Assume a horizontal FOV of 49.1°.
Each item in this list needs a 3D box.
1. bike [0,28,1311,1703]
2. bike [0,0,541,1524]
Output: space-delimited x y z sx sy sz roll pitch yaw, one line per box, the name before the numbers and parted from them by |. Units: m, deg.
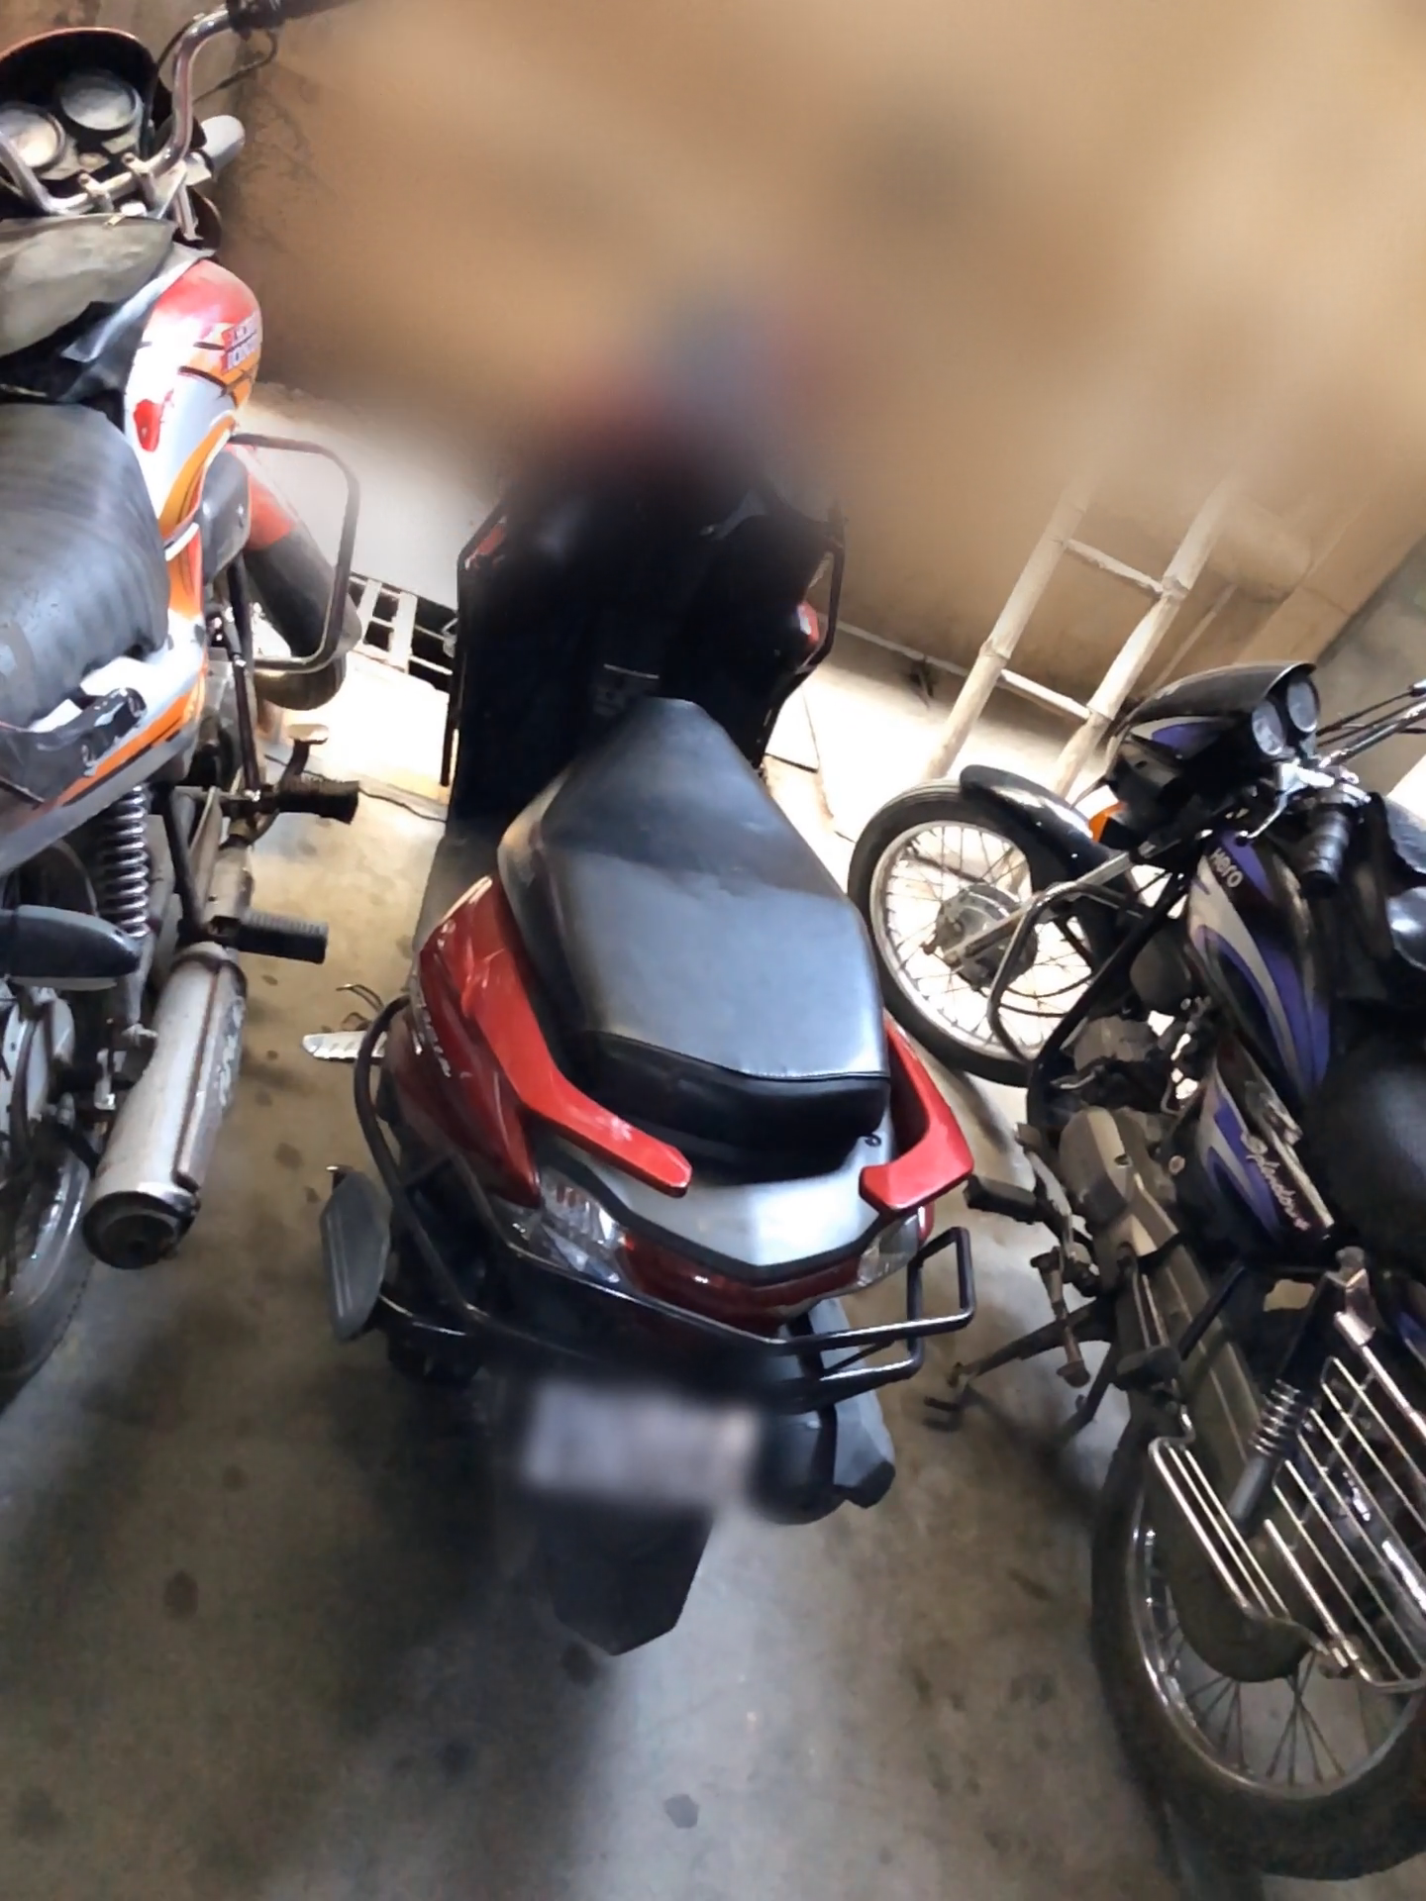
bike | -0.218 -0.155 1.816 0.630 1.140 1.445 18 36 -24
bike | -0.858 -0.508 1.631 0.839 1.089 1.657 19 34 -24
